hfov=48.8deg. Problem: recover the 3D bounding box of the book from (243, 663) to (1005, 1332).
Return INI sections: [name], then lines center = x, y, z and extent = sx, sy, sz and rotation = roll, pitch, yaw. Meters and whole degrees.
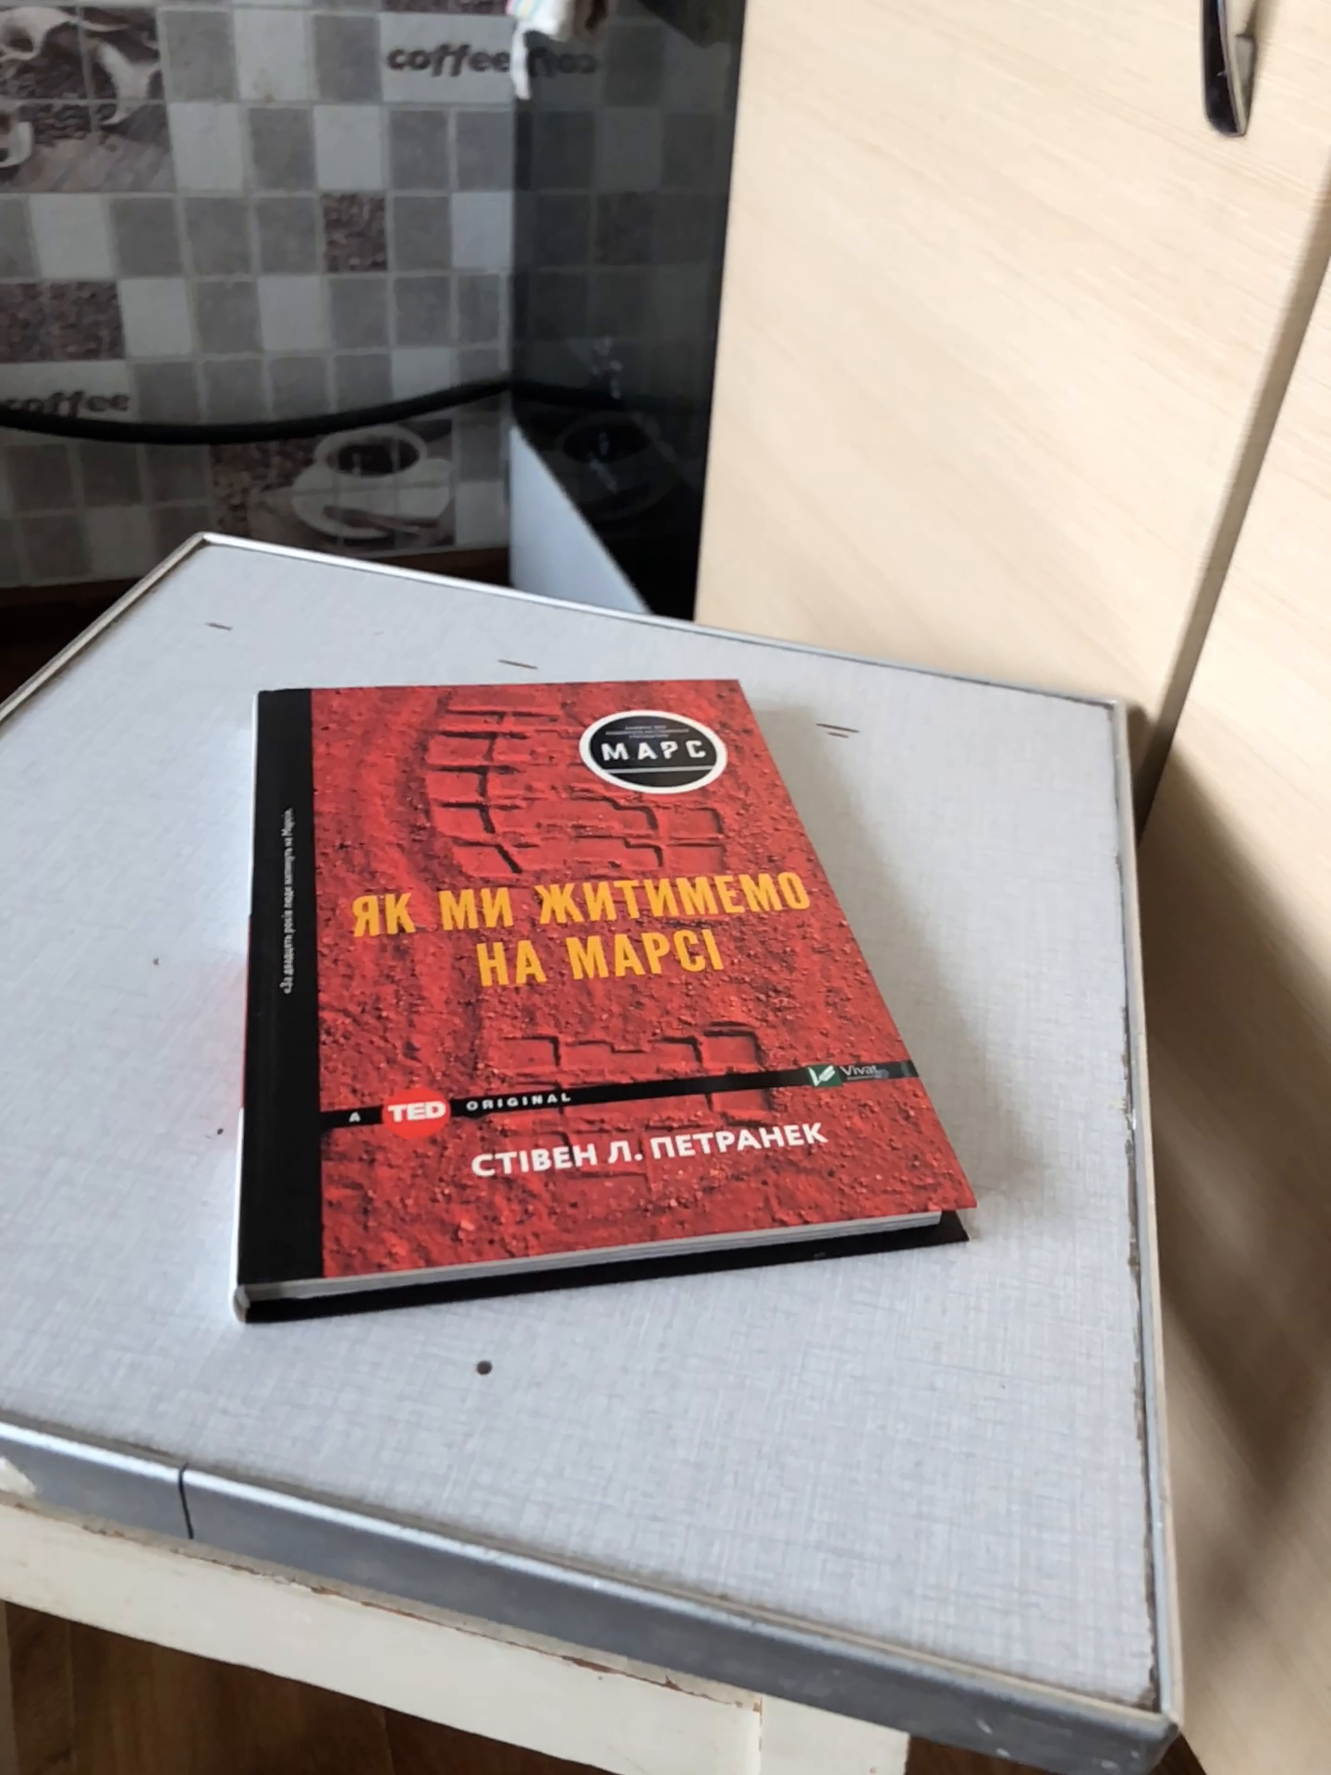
[book]
center = -0.024, 0.006, 0.364
extent = 0.146, 0.015, 0.215
rotation = -3, 38, -11
